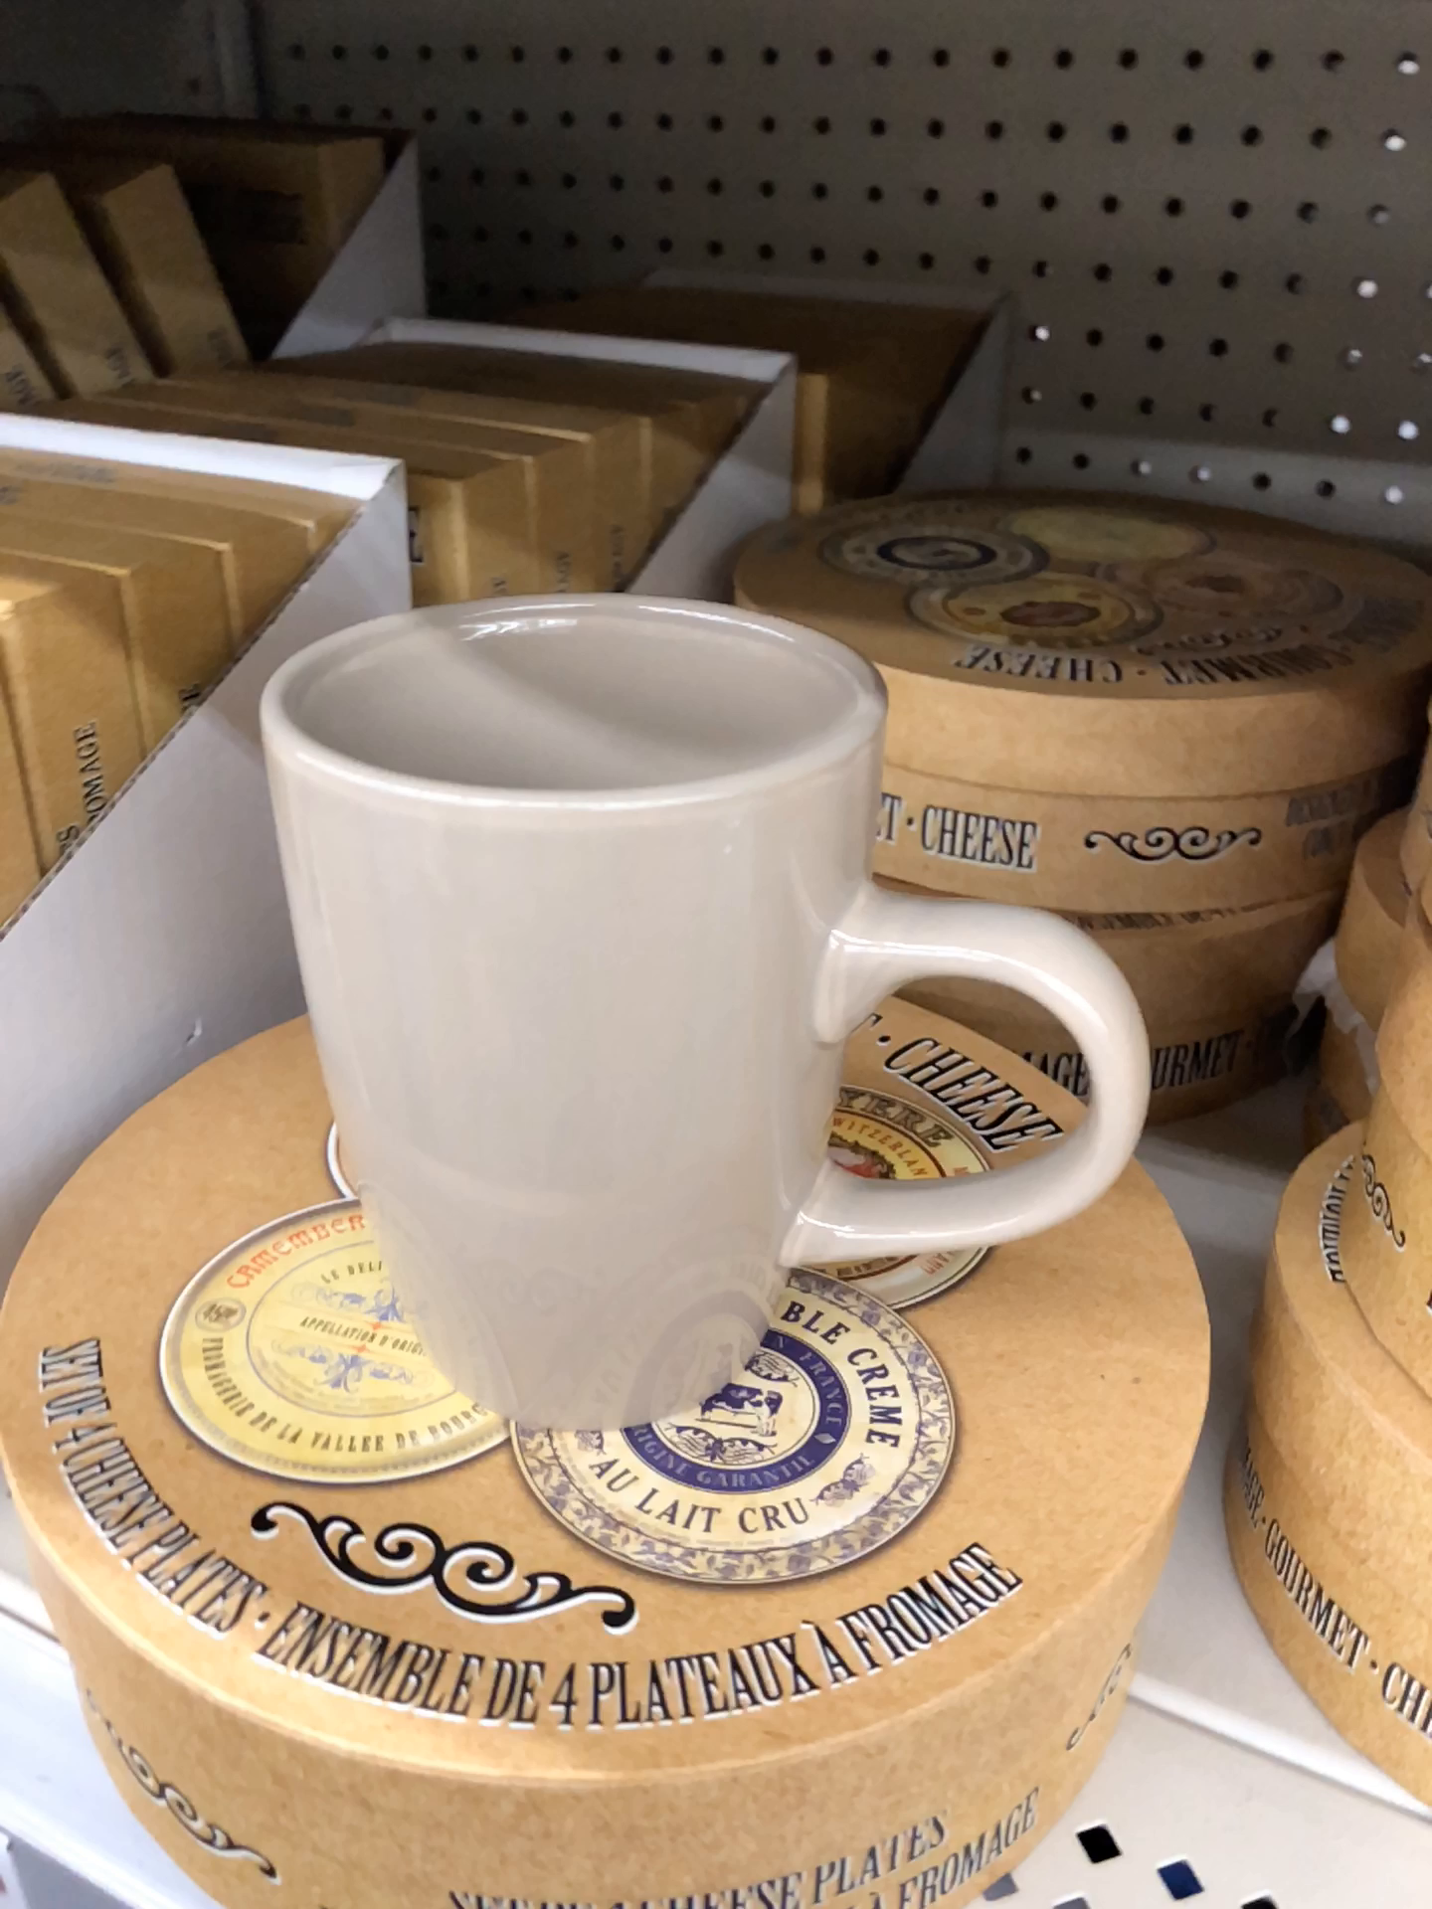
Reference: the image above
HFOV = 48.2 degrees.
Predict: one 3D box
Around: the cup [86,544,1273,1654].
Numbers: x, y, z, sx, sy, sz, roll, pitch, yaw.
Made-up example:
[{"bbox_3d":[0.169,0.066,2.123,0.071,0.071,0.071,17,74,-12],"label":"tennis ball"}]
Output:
[{"bbox_3d":[-0.003,0.008,0.236,0.130,0.100,0.090,16,32,26],"label":"cup"}]
